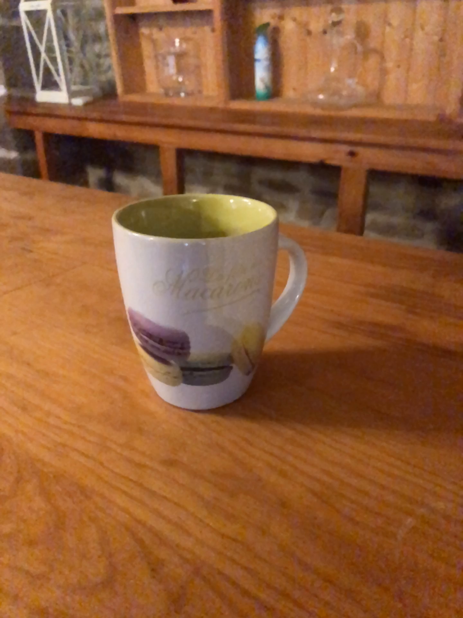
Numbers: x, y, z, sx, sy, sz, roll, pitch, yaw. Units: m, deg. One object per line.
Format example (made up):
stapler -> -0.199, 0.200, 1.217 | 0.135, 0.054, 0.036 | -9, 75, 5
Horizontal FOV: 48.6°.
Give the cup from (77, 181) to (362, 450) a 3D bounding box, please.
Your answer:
cup -> -0.007, -0.008, 0.300 | 0.120, 0.099, 0.098 | -18, 31, -33
